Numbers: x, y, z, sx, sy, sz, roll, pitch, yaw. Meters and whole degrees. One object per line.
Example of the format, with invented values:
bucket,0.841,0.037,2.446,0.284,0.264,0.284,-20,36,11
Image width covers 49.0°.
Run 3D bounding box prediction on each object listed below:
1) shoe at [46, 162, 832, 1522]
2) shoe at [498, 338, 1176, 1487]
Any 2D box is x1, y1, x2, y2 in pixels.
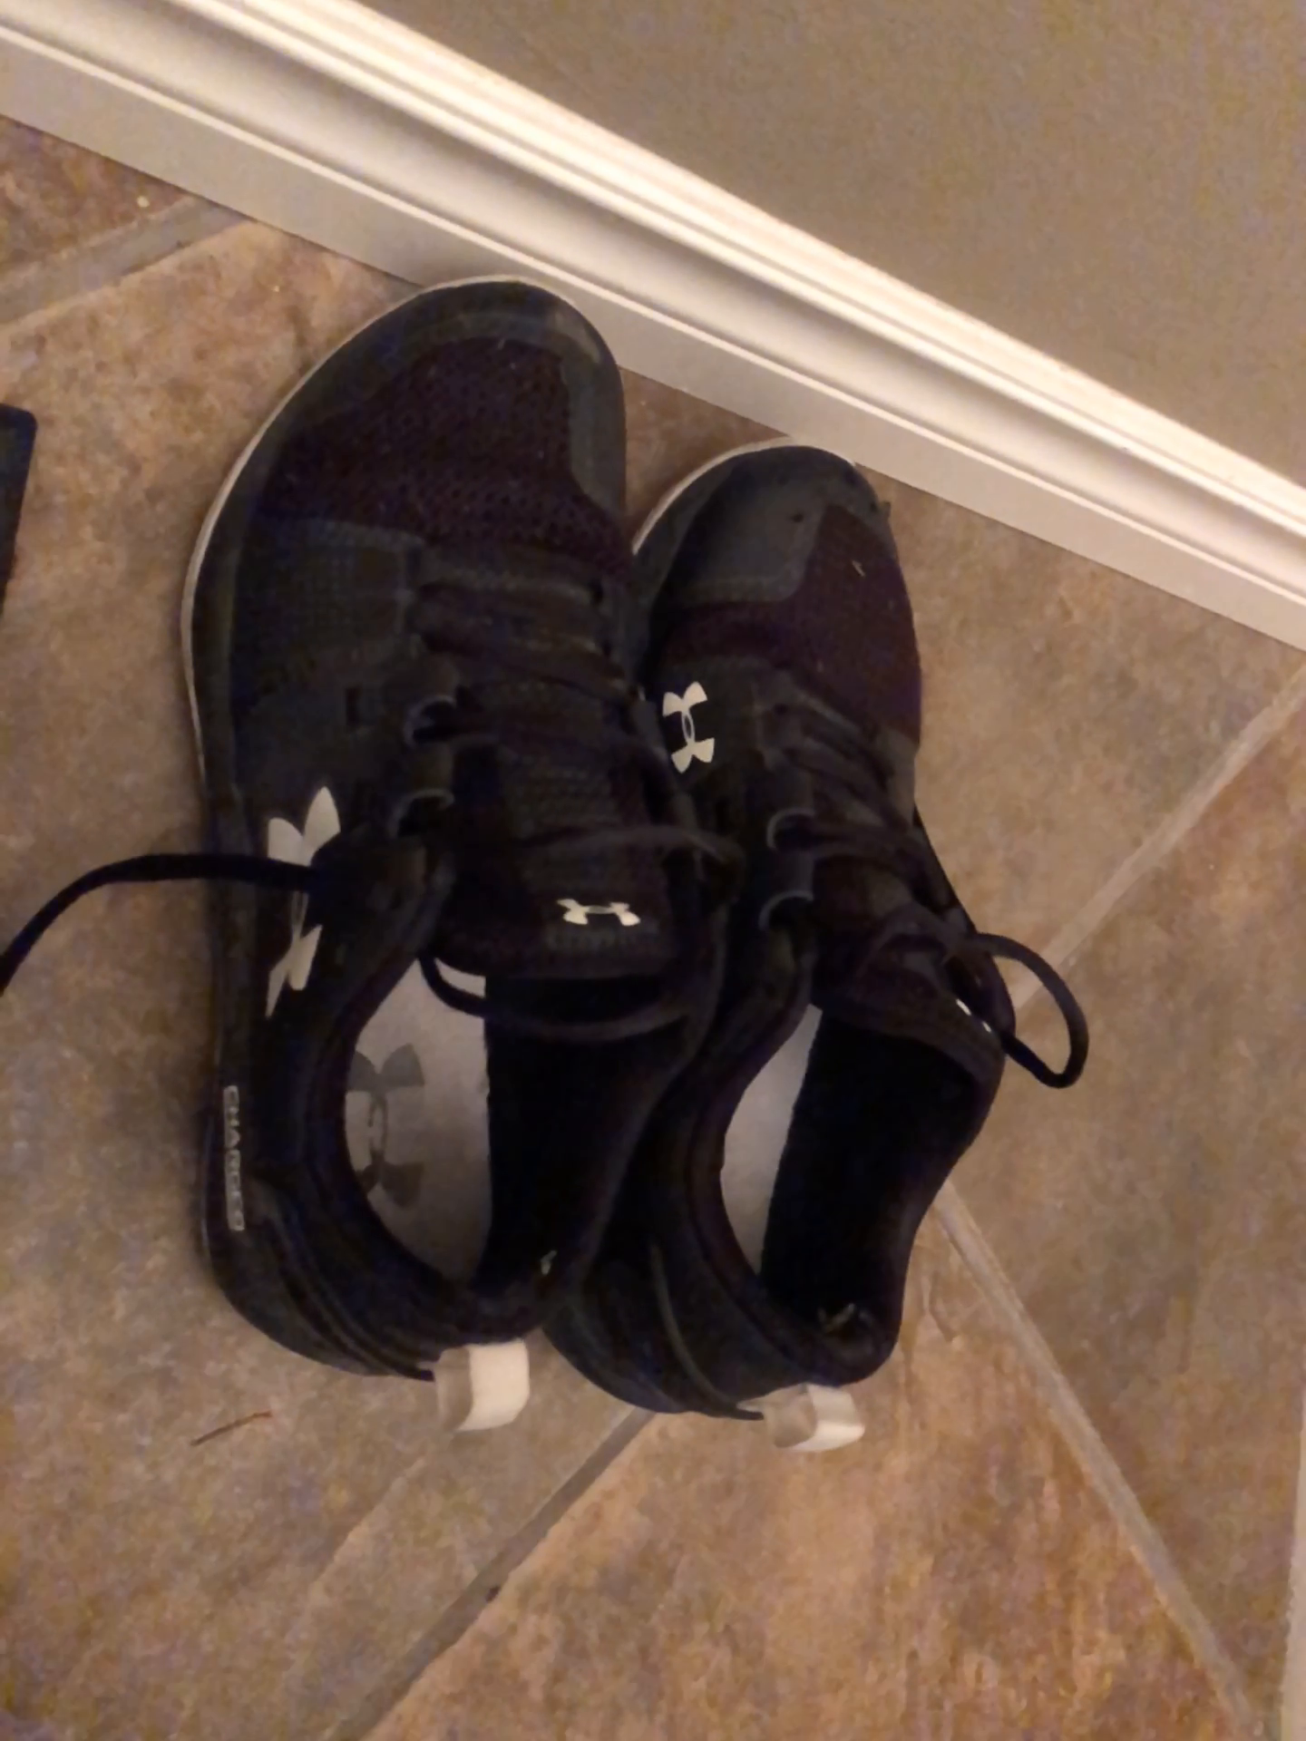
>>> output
shoe,-0.048,-0.001,0.329,0.110,0.100,0.250,12,82,-32
shoe,0.049,0.014,0.378,0.110,0.100,0.250,12,82,-32
